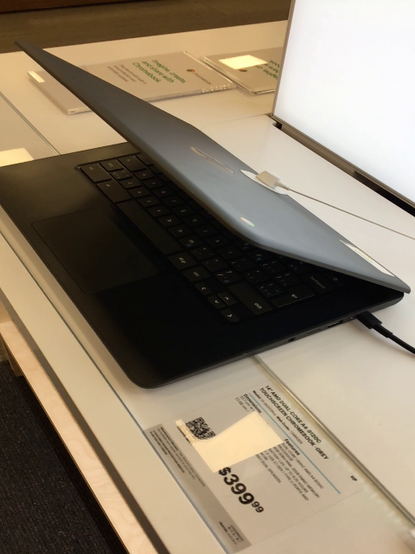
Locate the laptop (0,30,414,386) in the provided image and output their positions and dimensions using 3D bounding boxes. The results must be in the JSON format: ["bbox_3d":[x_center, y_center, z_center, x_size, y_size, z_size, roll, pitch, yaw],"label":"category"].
[{"bbox_3d":[-0.032,-0.082,0.447,0.225,0.122,0.308,-23,51,-24],"label":"laptop"}]
